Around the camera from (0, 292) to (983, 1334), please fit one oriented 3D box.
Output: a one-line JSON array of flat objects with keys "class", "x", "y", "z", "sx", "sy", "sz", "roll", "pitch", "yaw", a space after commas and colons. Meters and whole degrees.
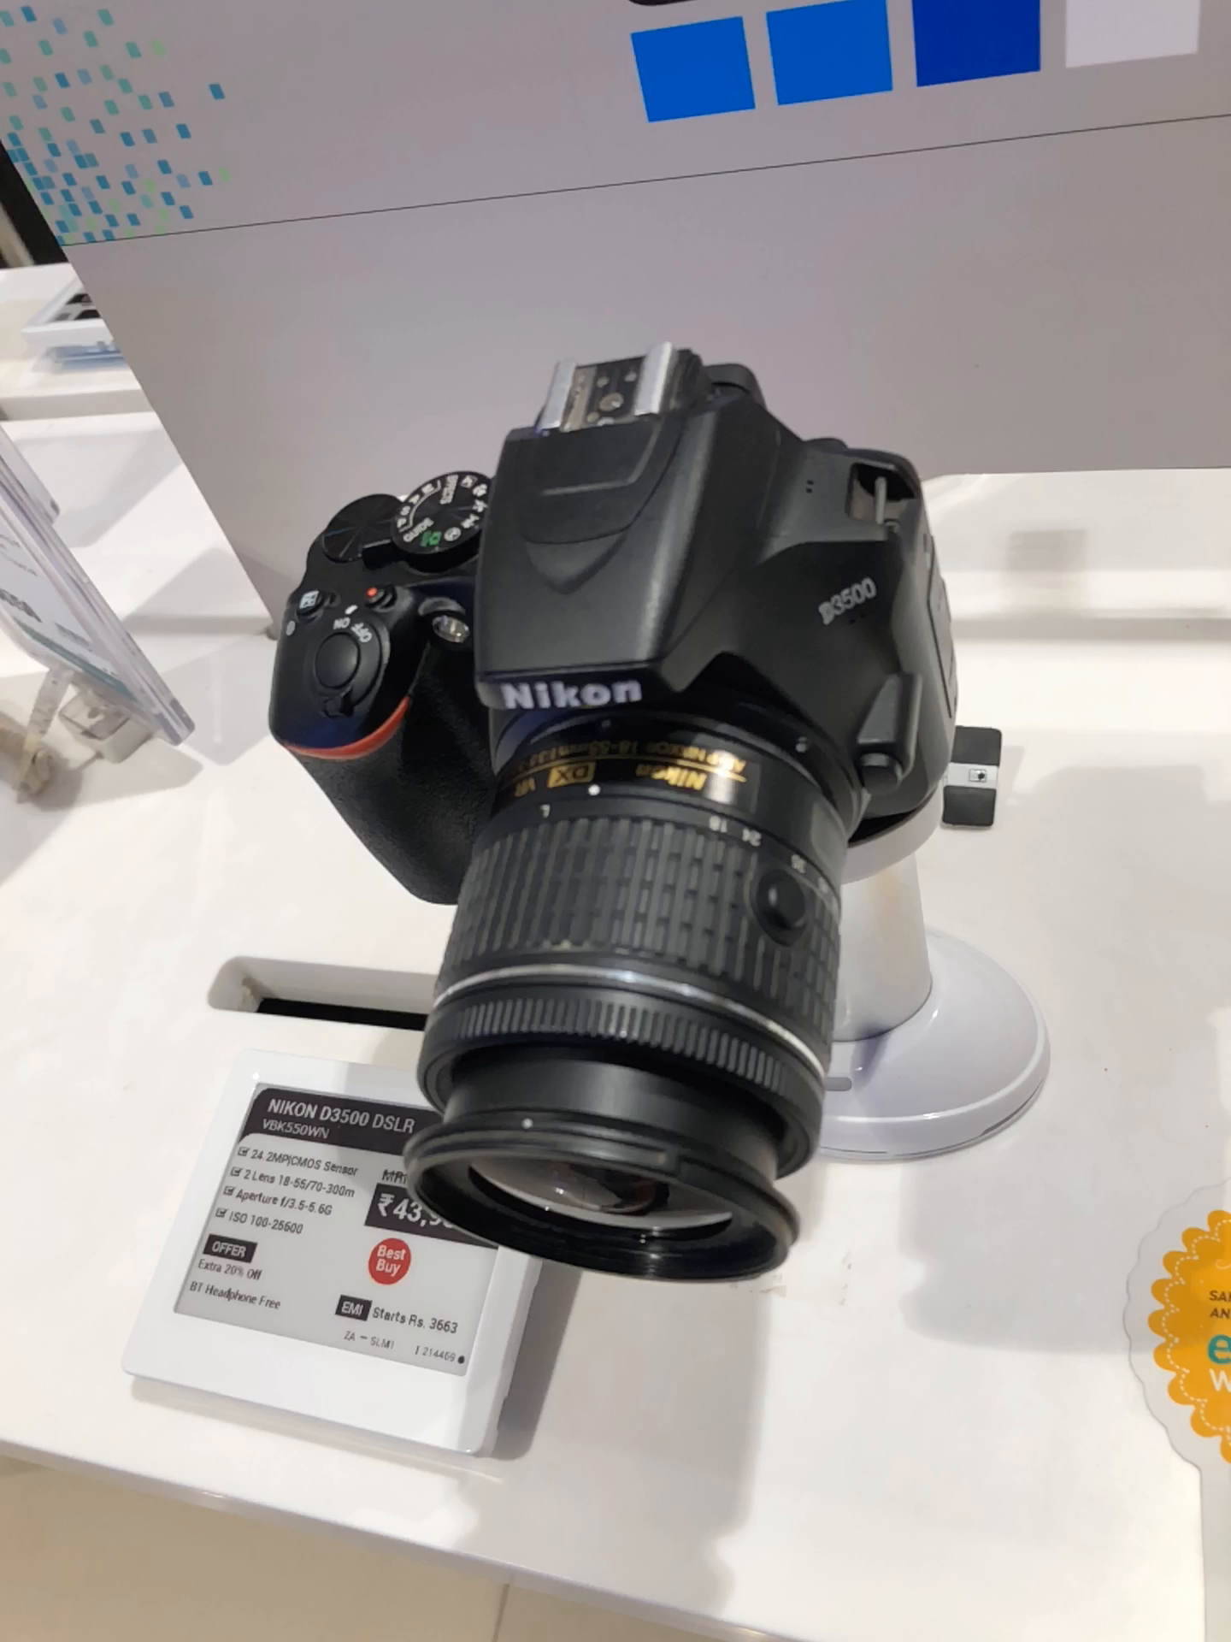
[{"class": "camera", "x": -0.007, "y": 0.000, "z": 0.213, "sx": 0.120, "sy": 0.089, "sz": 0.121, "roll": -2, "pitch": 53, "yaw": 17}]
